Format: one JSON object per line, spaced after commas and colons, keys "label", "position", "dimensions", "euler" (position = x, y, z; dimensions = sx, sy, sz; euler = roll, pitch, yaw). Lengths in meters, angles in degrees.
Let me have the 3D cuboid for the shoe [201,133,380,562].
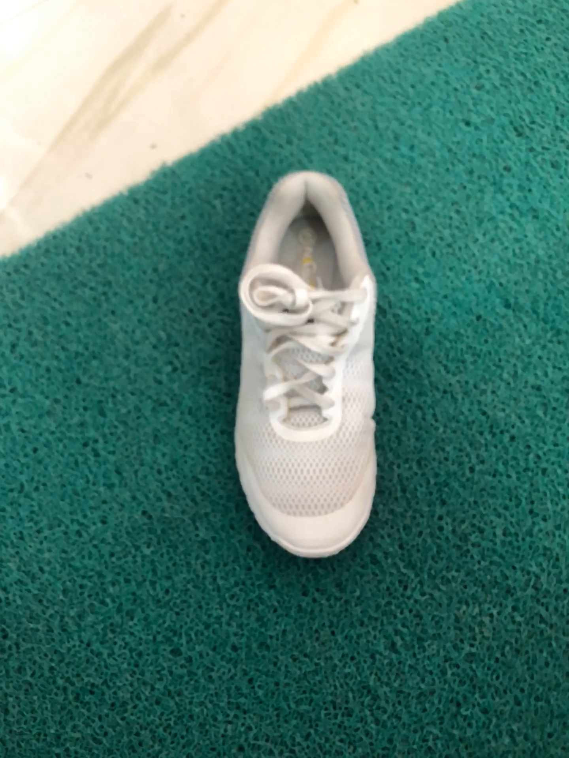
{"label": "shoe", "position": [0.014, -0.023, 0.461], "dimensions": [0.100, 0.100, 0.290], "euler": [2, 72, 7]}
